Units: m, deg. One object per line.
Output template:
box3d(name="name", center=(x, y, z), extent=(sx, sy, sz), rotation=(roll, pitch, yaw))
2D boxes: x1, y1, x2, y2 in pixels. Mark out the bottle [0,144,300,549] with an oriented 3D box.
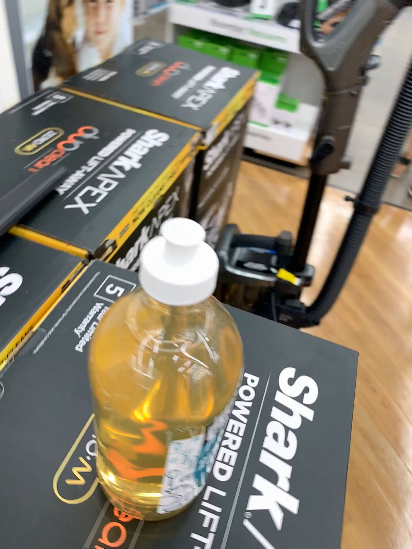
box3d(name="bottle", center=(-0.036, 0.056, 0.236), extent=(0.090, 0.209, 0.090), rotation=(5, 44, -5))
